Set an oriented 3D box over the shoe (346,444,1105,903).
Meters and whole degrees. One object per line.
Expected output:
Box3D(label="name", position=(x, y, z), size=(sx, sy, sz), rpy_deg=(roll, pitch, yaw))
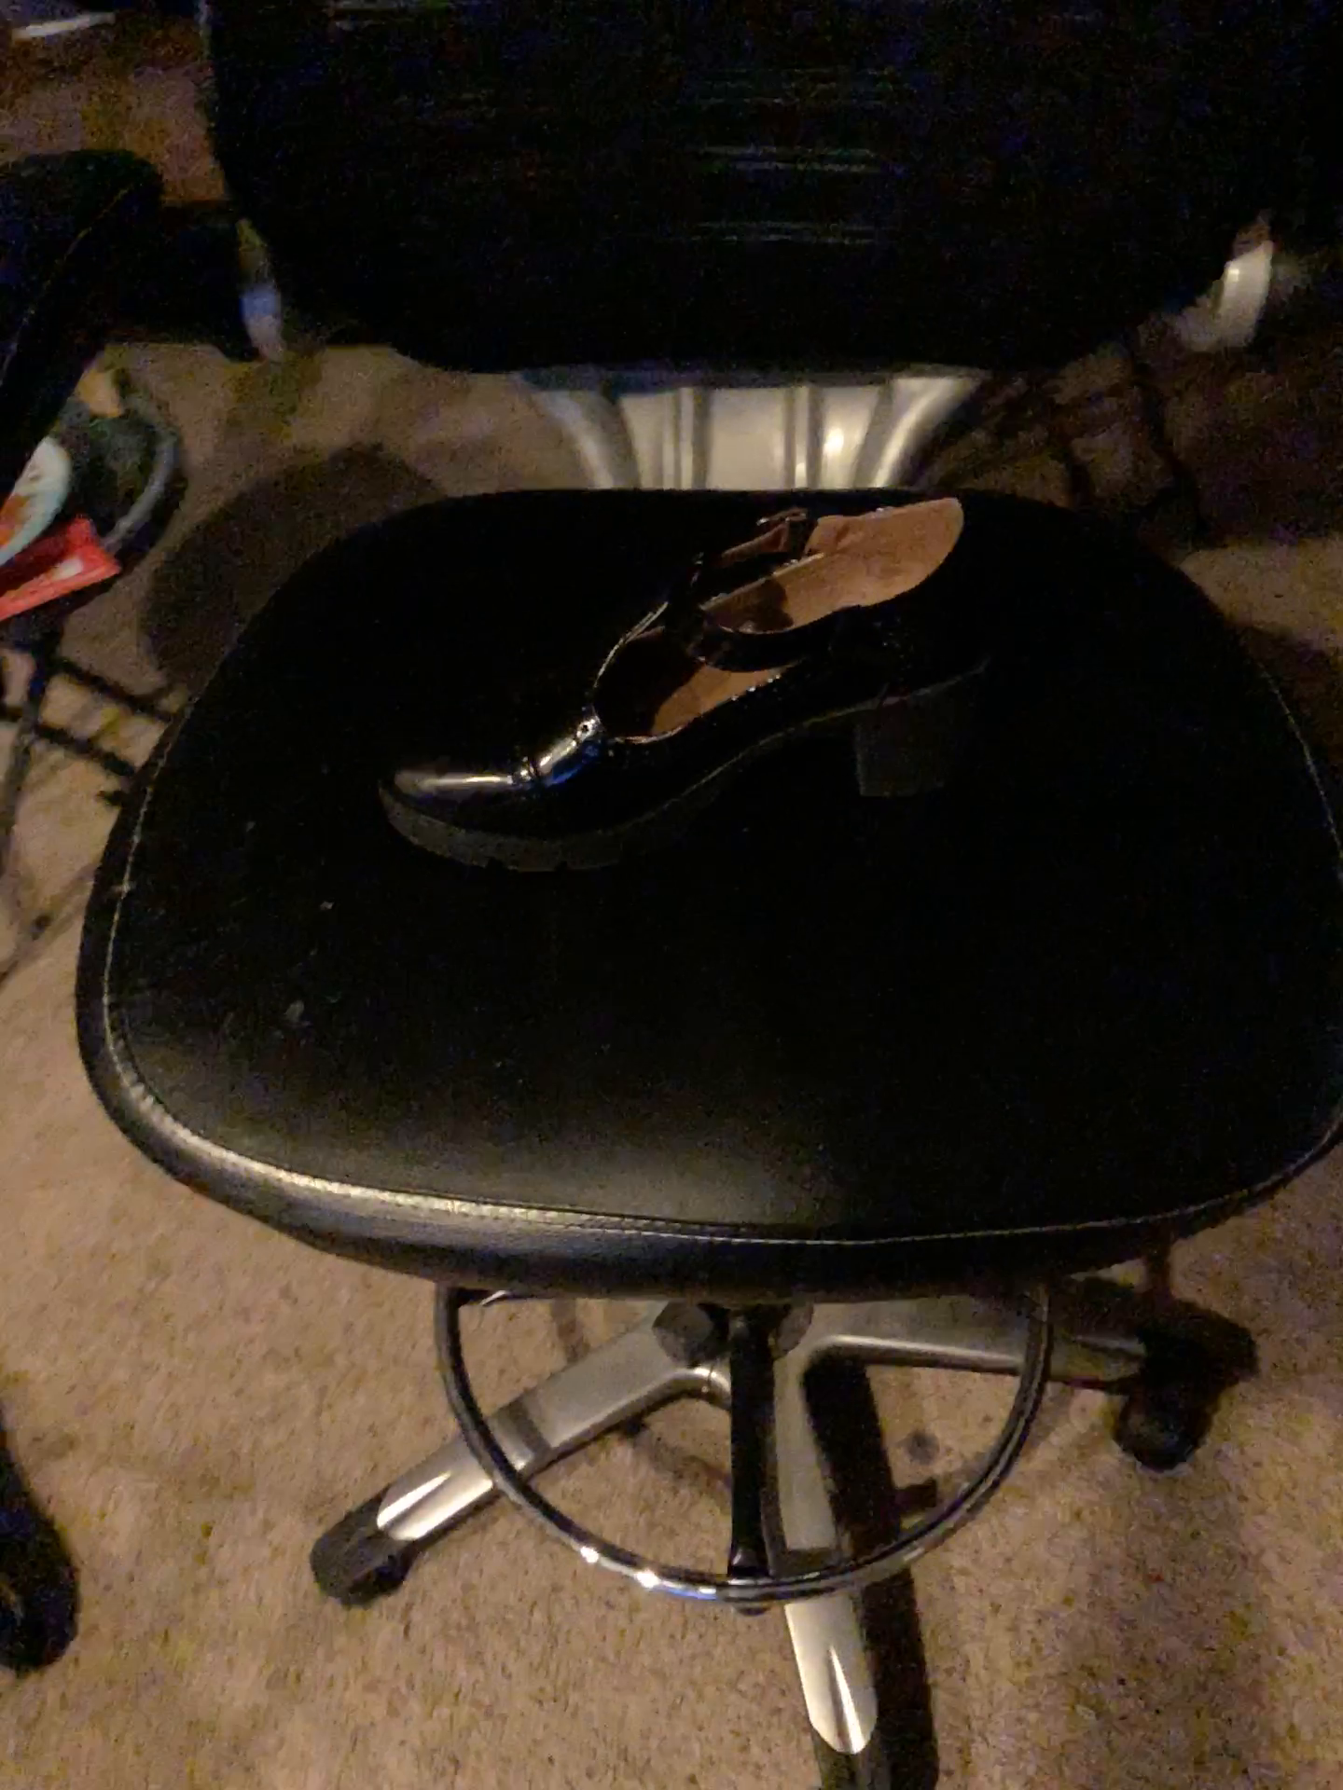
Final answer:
Box3D(label="shoe", position=(0.016, -0.091, 0.598), size=(0.270, 0.100, 0.110), rpy_deg=(-9, 46, -4))
